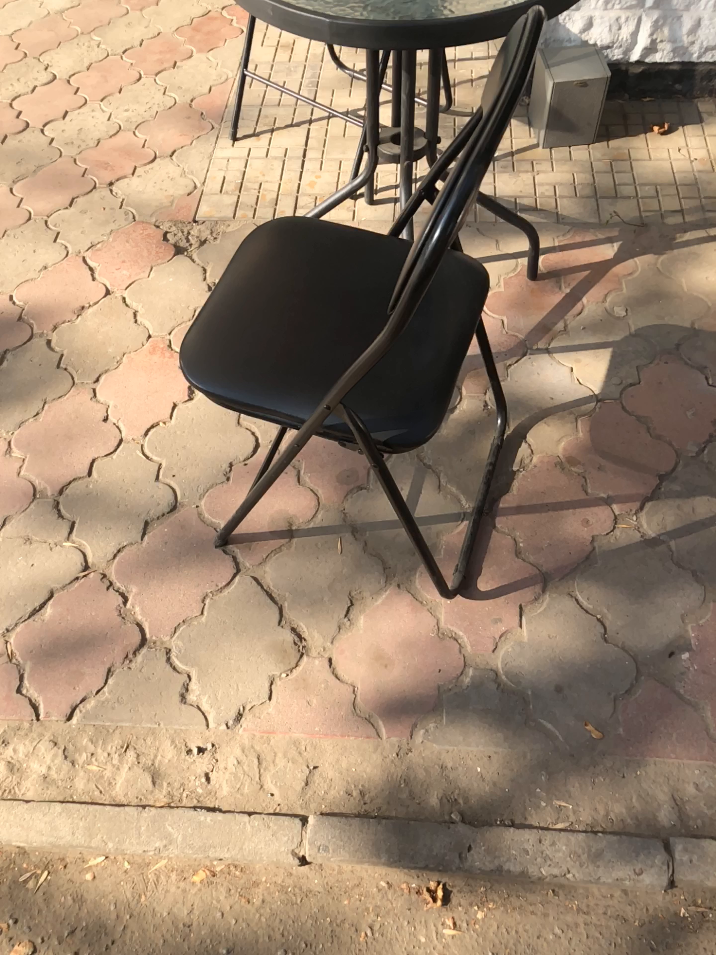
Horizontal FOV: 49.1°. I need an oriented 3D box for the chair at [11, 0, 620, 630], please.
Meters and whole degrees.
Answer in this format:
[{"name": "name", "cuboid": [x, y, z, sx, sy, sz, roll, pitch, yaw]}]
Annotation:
[{"name": "chair", "cuboid": [0.002, -0.226, 1.090, 0.500, 0.638, 0.532, 13, 56, 11]}]
